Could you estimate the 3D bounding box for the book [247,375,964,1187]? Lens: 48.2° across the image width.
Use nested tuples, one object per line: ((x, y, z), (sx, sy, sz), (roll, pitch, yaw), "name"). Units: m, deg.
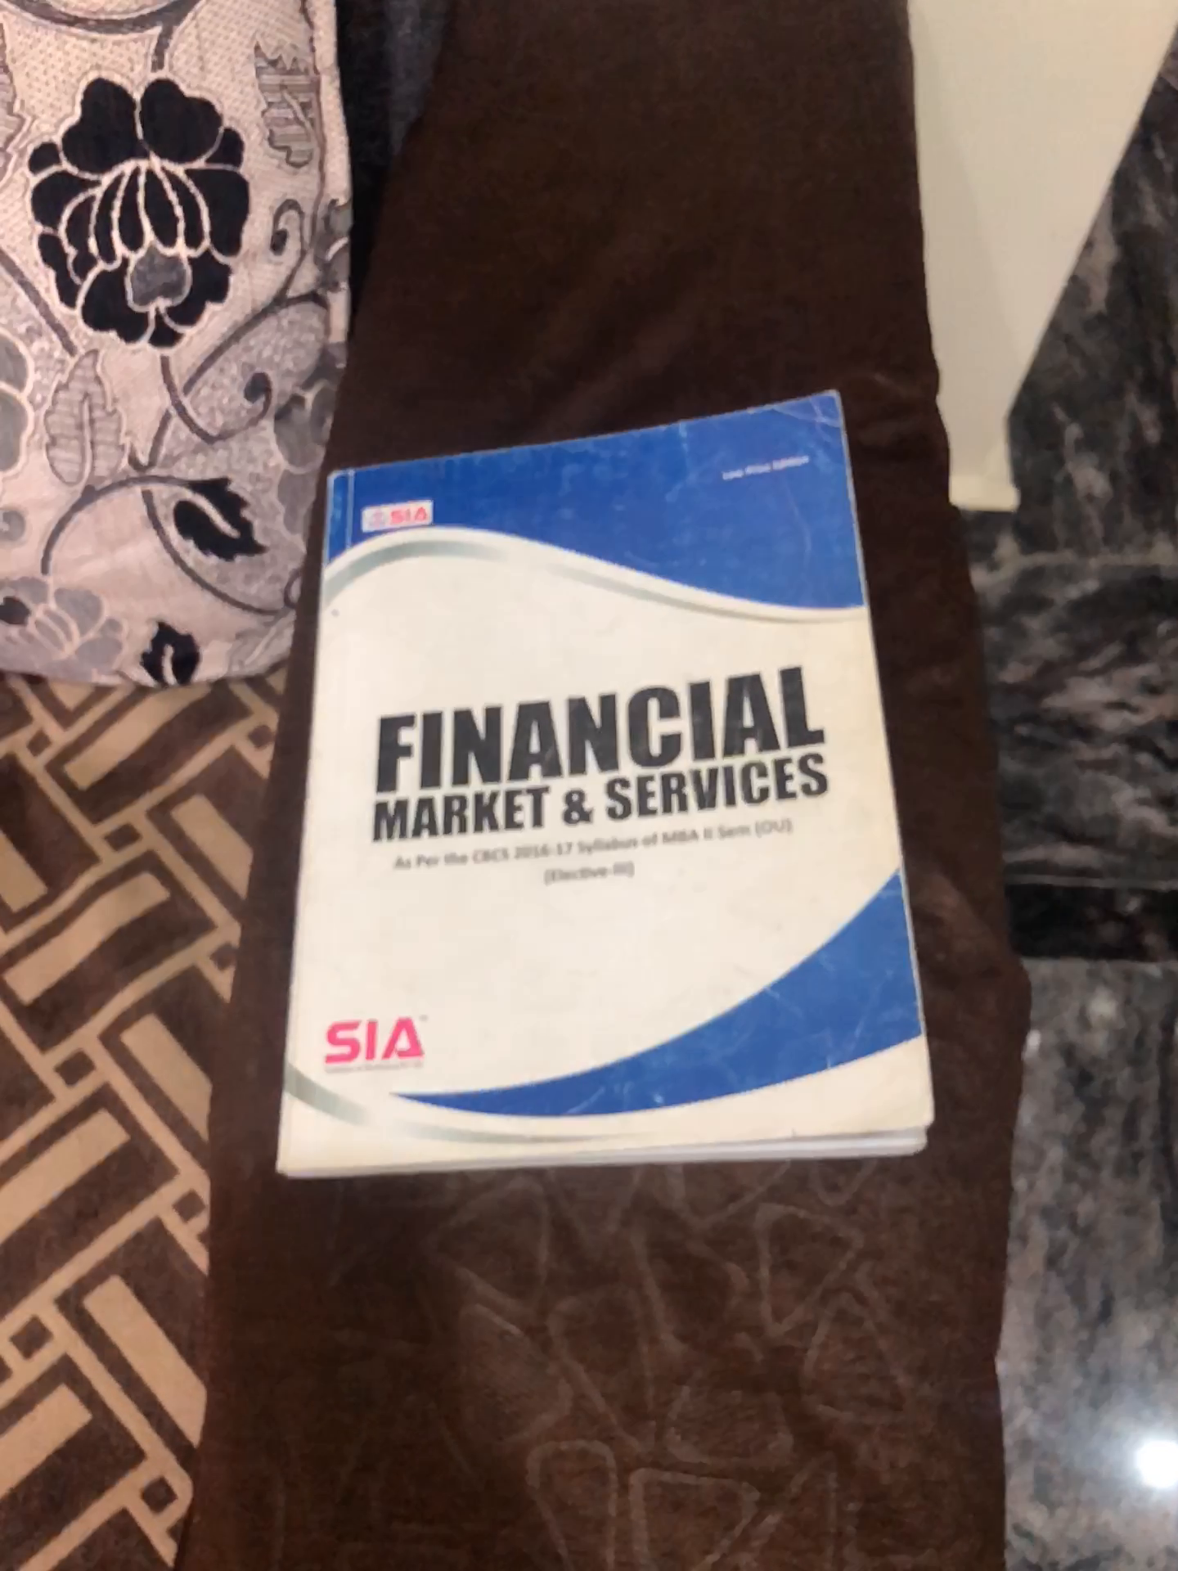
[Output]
((0.001, -0.011, 0.481), (0.220, 0.040, 0.290), (-5, 64, 7), "book")
